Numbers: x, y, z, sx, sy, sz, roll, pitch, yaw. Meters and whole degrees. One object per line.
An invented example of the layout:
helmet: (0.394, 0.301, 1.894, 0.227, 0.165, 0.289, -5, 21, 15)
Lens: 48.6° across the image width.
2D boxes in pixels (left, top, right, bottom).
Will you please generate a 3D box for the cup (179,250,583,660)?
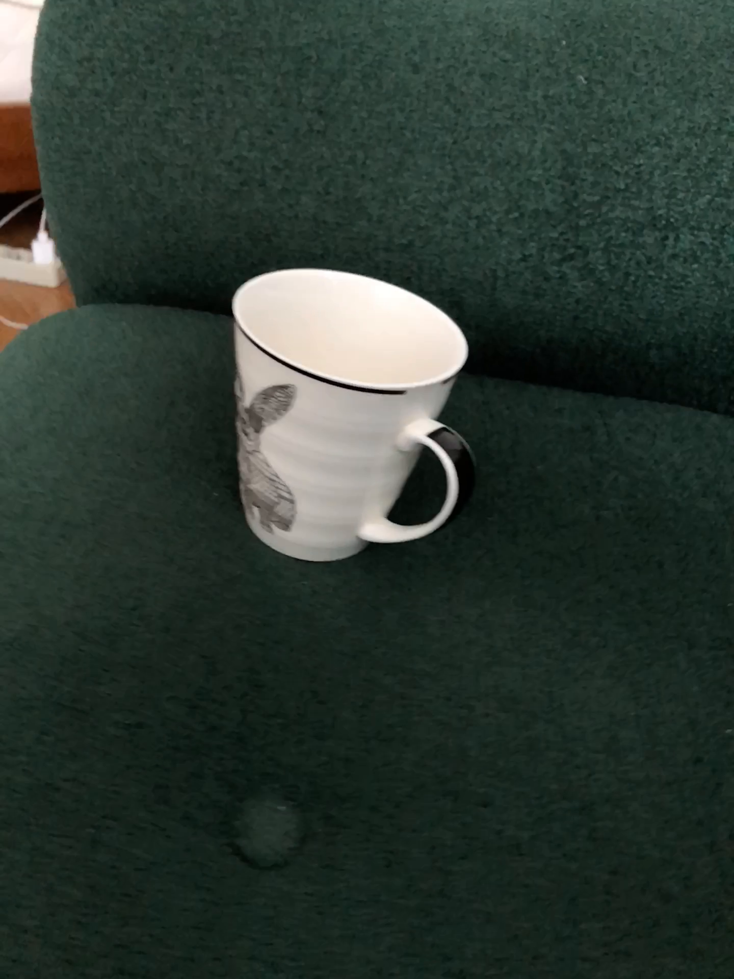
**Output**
cup: (-0.001, -0.022, 0.334, 0.120, 0.095, 0.096, 36, 44, 28)
